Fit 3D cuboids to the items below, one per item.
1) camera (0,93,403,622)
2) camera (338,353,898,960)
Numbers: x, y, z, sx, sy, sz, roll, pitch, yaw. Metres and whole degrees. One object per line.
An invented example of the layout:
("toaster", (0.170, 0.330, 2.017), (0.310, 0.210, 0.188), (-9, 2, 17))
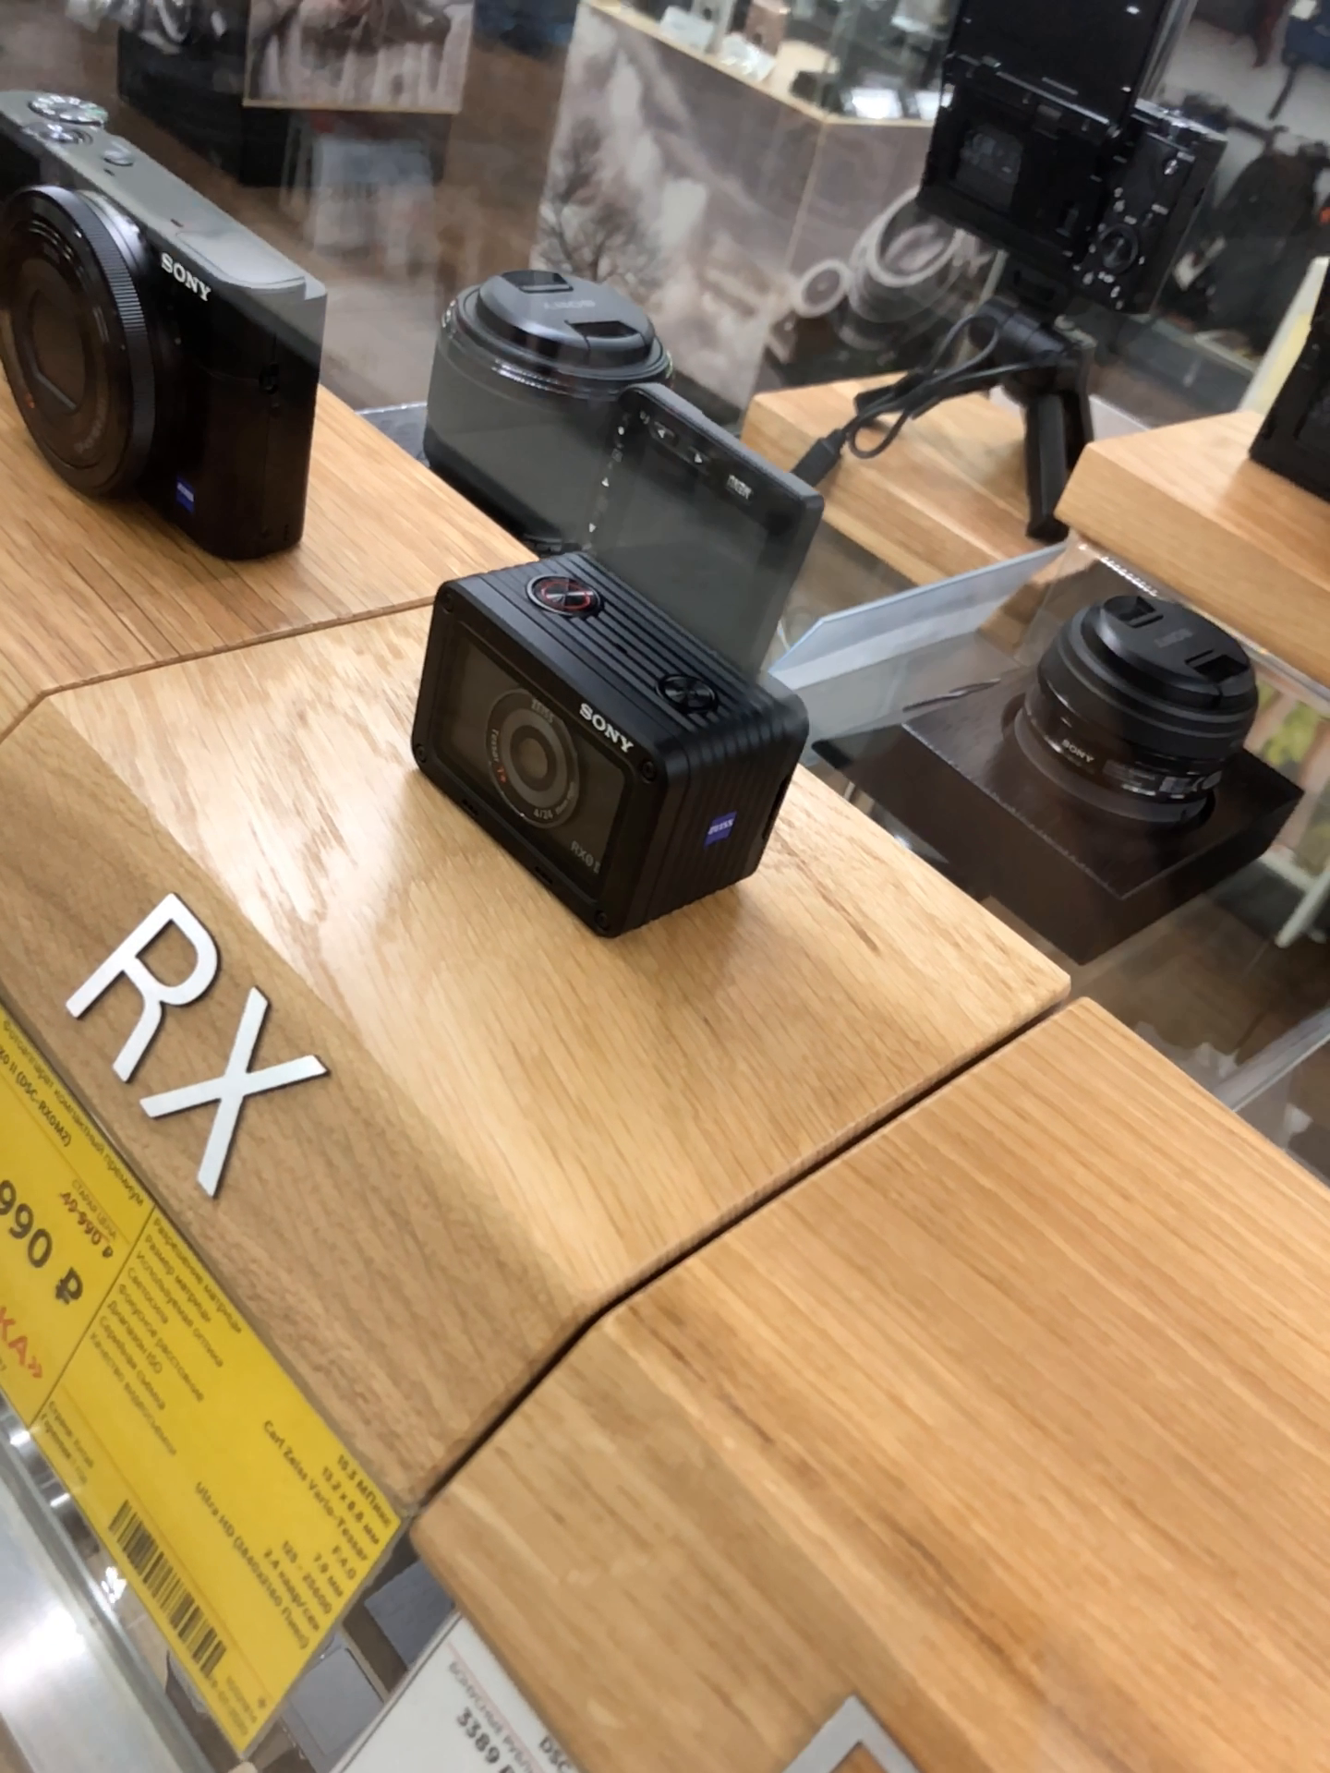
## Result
("camera", (-0.108, -0.117, 0.320), (0.041, 0.067, 0.105), (-23, 54, -40))
("camera", (-0.011, -0.040, 0.241), (0.050, 0.067, 0.062), (-24, 54, -40))
